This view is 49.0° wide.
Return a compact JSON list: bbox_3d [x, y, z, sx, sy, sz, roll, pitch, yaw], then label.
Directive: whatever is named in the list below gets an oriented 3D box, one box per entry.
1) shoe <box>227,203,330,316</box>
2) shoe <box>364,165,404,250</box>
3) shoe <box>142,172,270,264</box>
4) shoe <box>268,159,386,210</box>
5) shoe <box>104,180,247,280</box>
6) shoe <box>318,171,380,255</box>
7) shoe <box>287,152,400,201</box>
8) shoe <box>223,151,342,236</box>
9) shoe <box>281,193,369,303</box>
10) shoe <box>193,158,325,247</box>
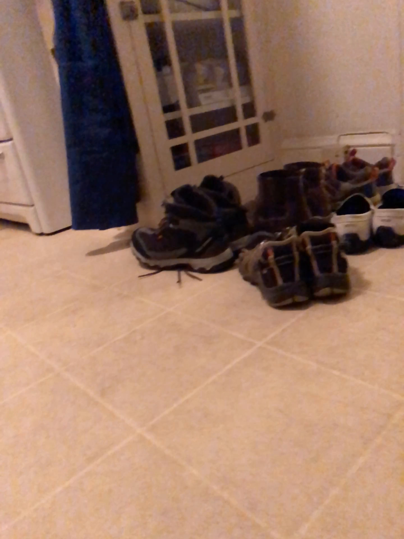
[{"bbox_3d":[0.141,-0.036,0.895,0.110,0.123,0.294,-12,20,-4],"label":"shoe"},{"bbox_3d":[0.481,-0.154,1.053,0.110,0.113,0.304,3,24,33],"label":"shoe"},{"bbox_3d":[0.004,-0.144,1.160,0.110,0.192,0.324,-27,26,-37],"label":"shoe"},{"bbox_3d":[0.359,-0.249,1.299,0.313,0.113,0.110,10,29,44],"label":"shoe"},{"bbox_3d":[-0.068,-0.102,1.068,0.323,0.192,0.111,7,27,40],"label":"shoe"},{"bbox_3d":[0.368,-0.146,1.082,0.110,0.113,0.305,-1,22,24],"label":"shoe"},{"bbox_3d":[0.431,-0.286,1.374,0.313,0.113,0.110,10,29,44],"label":"shoe"},{"bbox_3d":[0.221,-0.223,1.262,0.110,0.192,0.324,-24,24,-32],"label":"shoe"},{"bbox_3d":[0.241,-0.058,0.911,0.110,0.123,0.295,-8,20,7],"label":"shoe"},{"bbox_3d":[0.148,-0.182,1.195,0.323,0.192,0.111,8,27,41],"label":"shoe"}]
